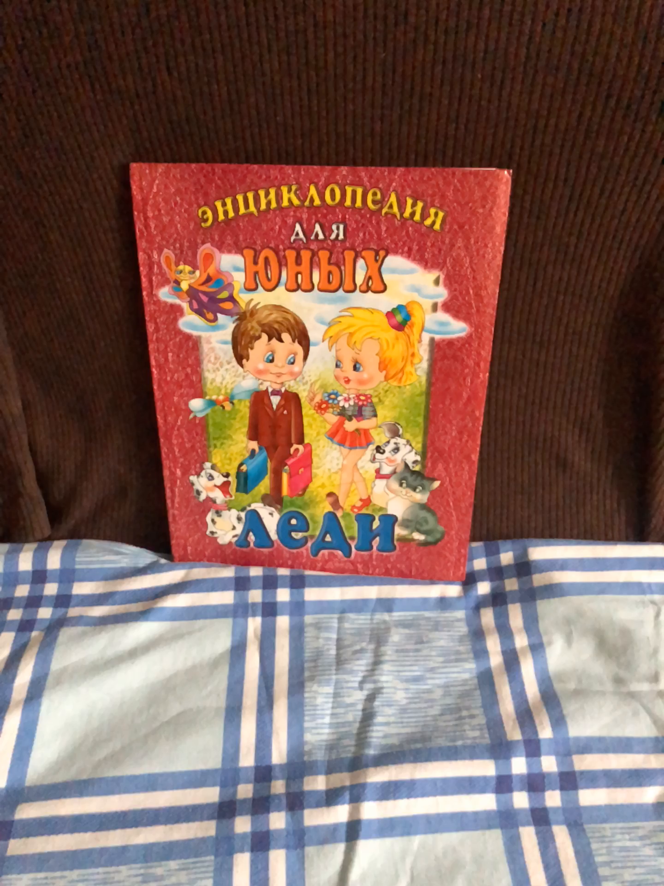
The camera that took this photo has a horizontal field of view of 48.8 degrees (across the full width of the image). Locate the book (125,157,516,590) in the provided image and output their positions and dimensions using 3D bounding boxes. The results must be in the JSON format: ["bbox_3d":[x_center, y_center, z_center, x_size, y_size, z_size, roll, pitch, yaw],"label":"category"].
[{"bbox_3d":[-0.010,-0.032,0.506,0.230,0.303,0.020,2,26,1],"label":"book"}]
